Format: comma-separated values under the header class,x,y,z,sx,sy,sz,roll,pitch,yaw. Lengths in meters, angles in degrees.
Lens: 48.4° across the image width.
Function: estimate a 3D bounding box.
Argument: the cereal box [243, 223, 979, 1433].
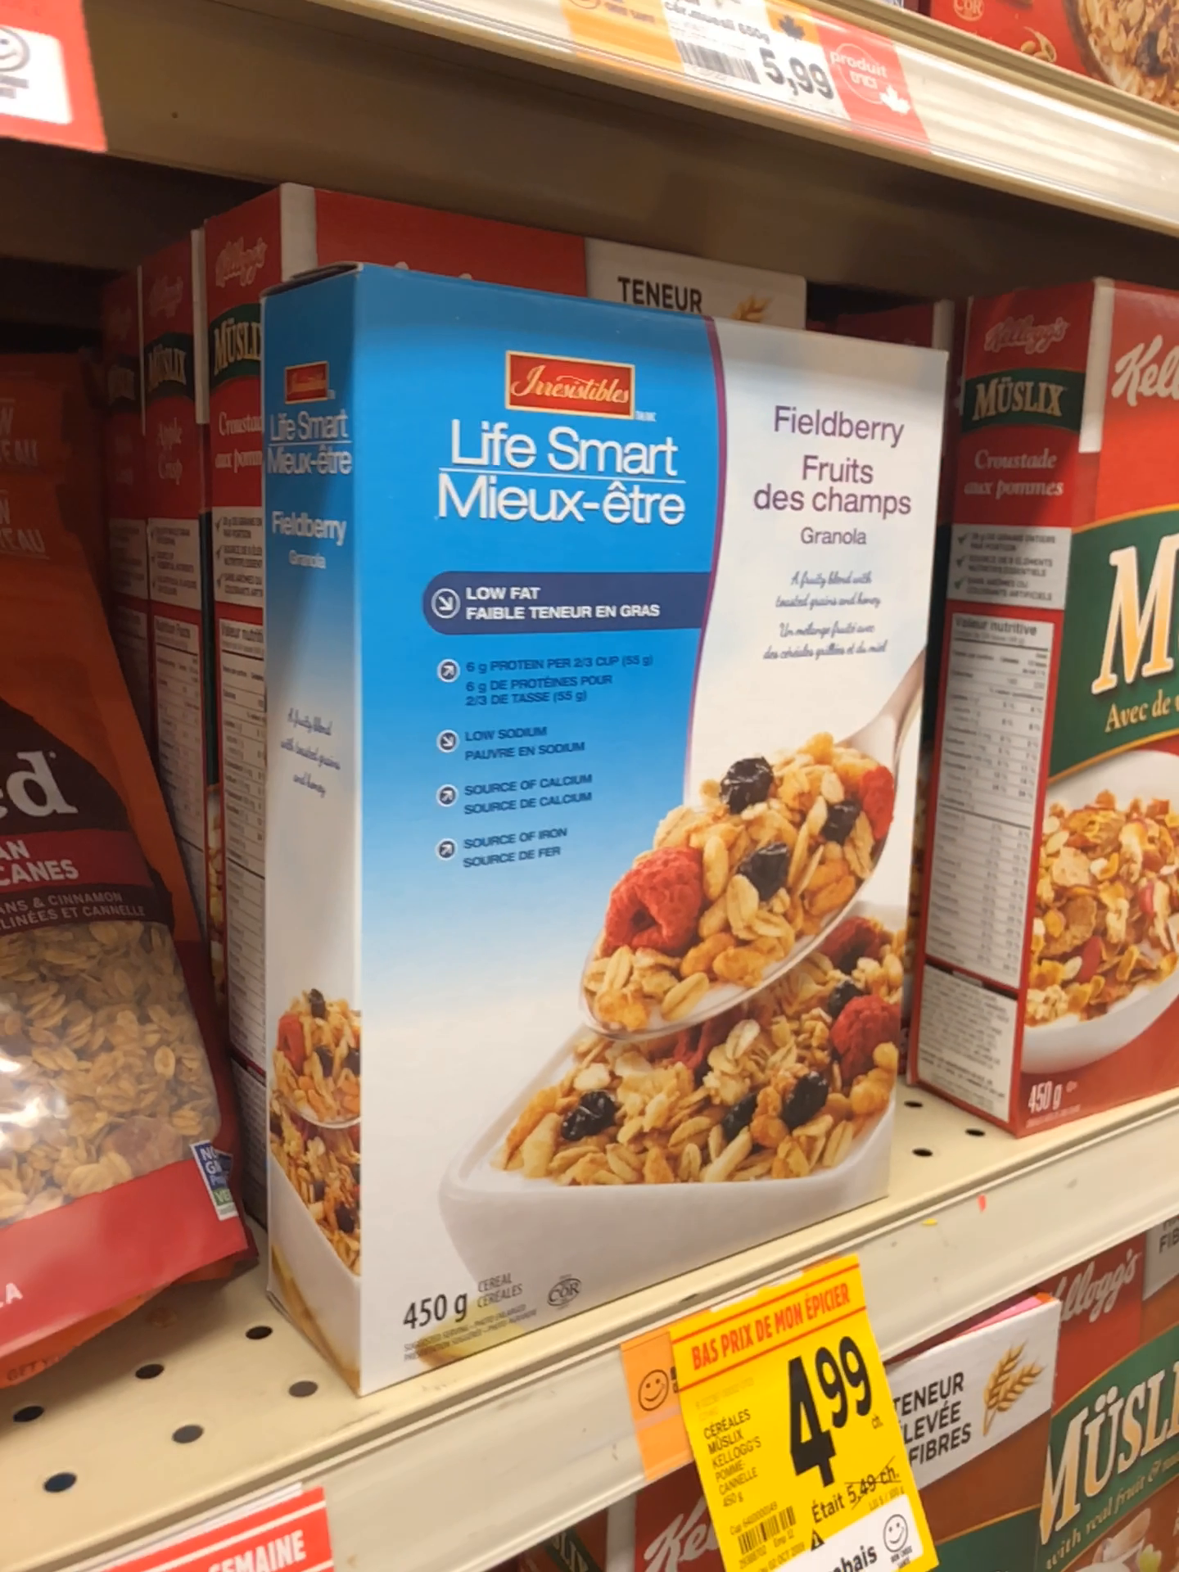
class,x,y,z,sx,sy,sz,roll,pitch,yaw
cereal box,0.008,0.006,0.321,0.170,0.239,0.050,-6,13,-34
